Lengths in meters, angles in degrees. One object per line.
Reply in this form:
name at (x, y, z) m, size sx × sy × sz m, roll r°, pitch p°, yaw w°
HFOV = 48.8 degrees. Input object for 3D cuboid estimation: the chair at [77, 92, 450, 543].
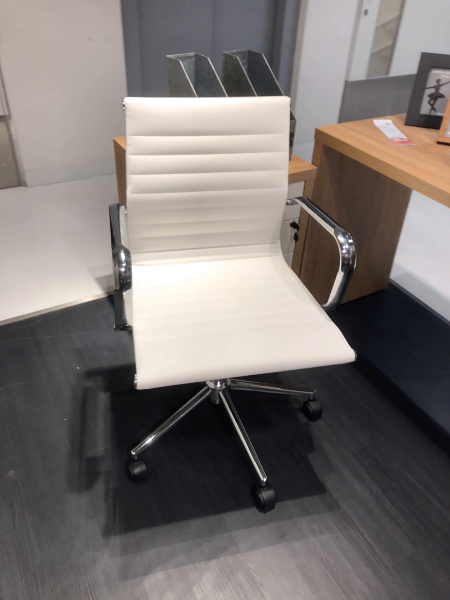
chair at (0.002, 0.014, 1.400) m, size 0.650 × 0.952 × 0.766 m, roll -4°, pitch 37°, yaw -10°
